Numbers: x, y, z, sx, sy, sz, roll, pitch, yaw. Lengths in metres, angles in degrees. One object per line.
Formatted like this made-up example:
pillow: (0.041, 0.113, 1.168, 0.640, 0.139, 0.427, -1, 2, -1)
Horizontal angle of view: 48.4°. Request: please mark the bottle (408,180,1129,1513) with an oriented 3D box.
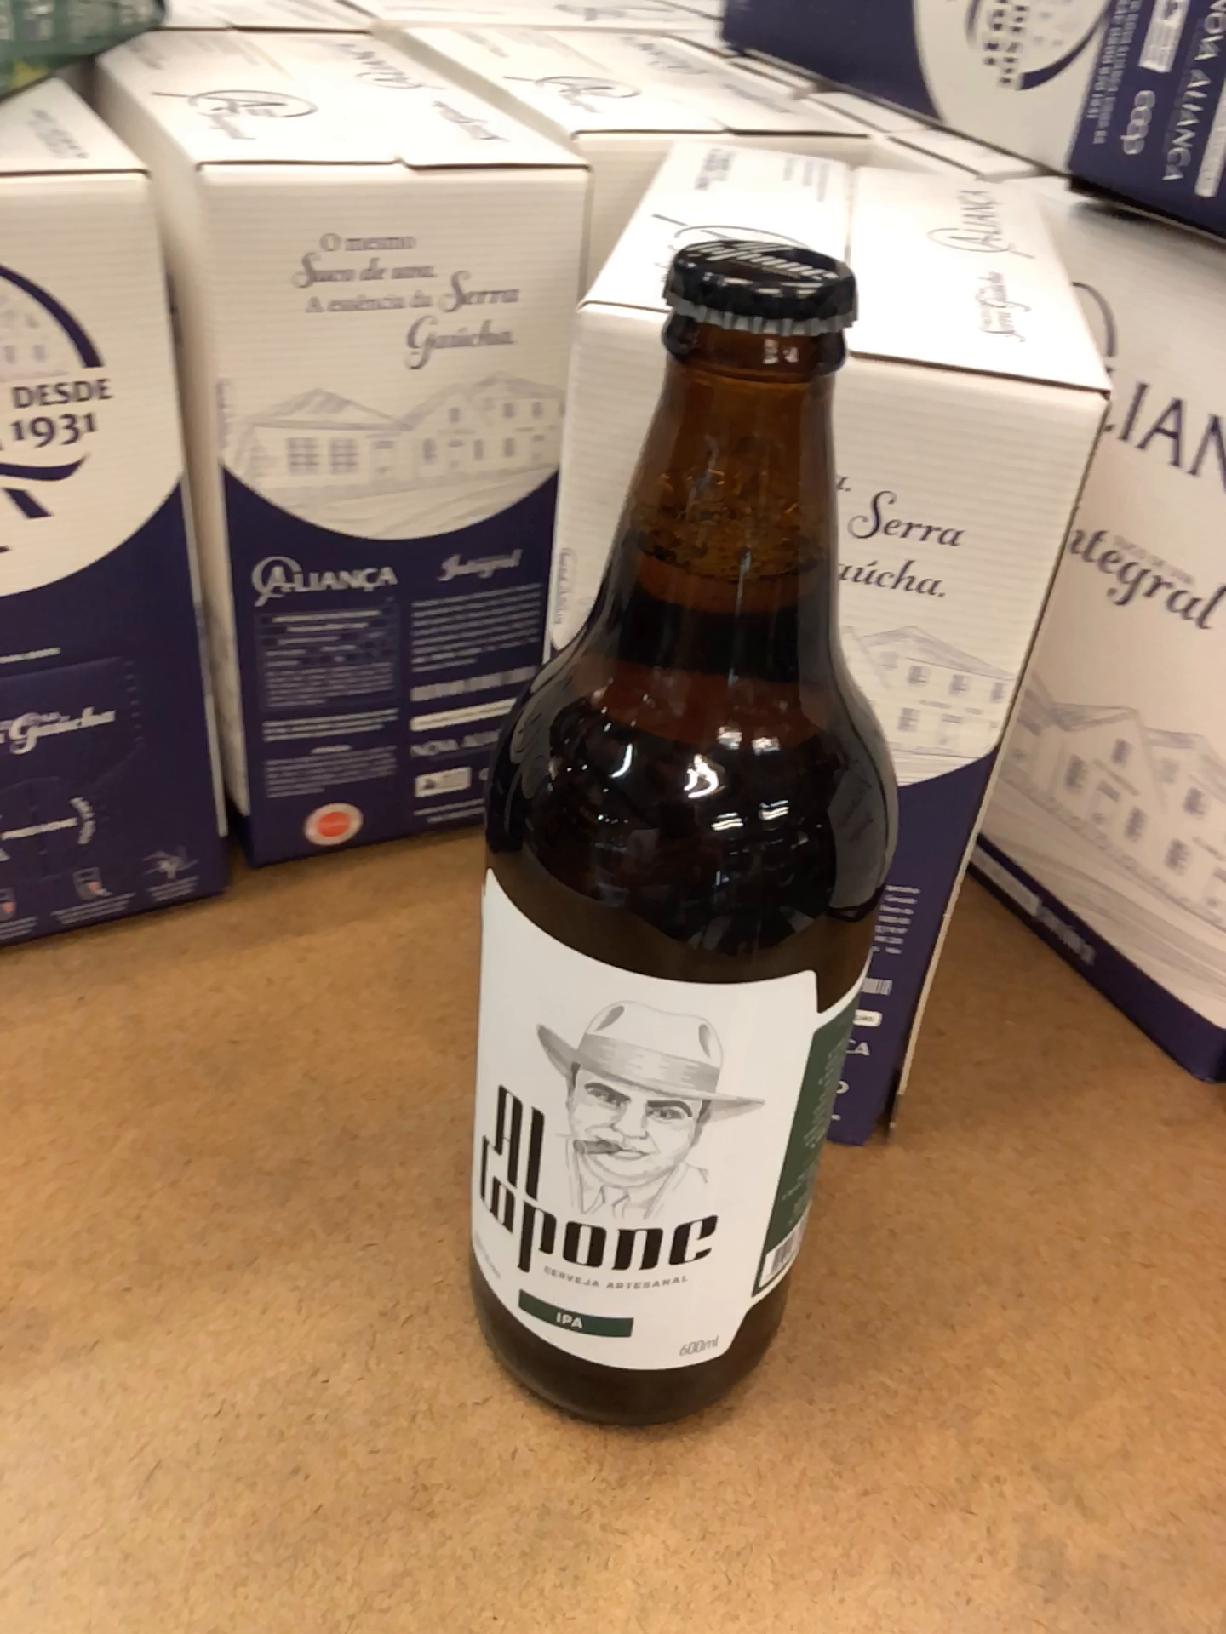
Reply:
bottle: (0.015, 0.019, 0.248, 0.080, 0.228, 0.071, 17, 37, 15)
